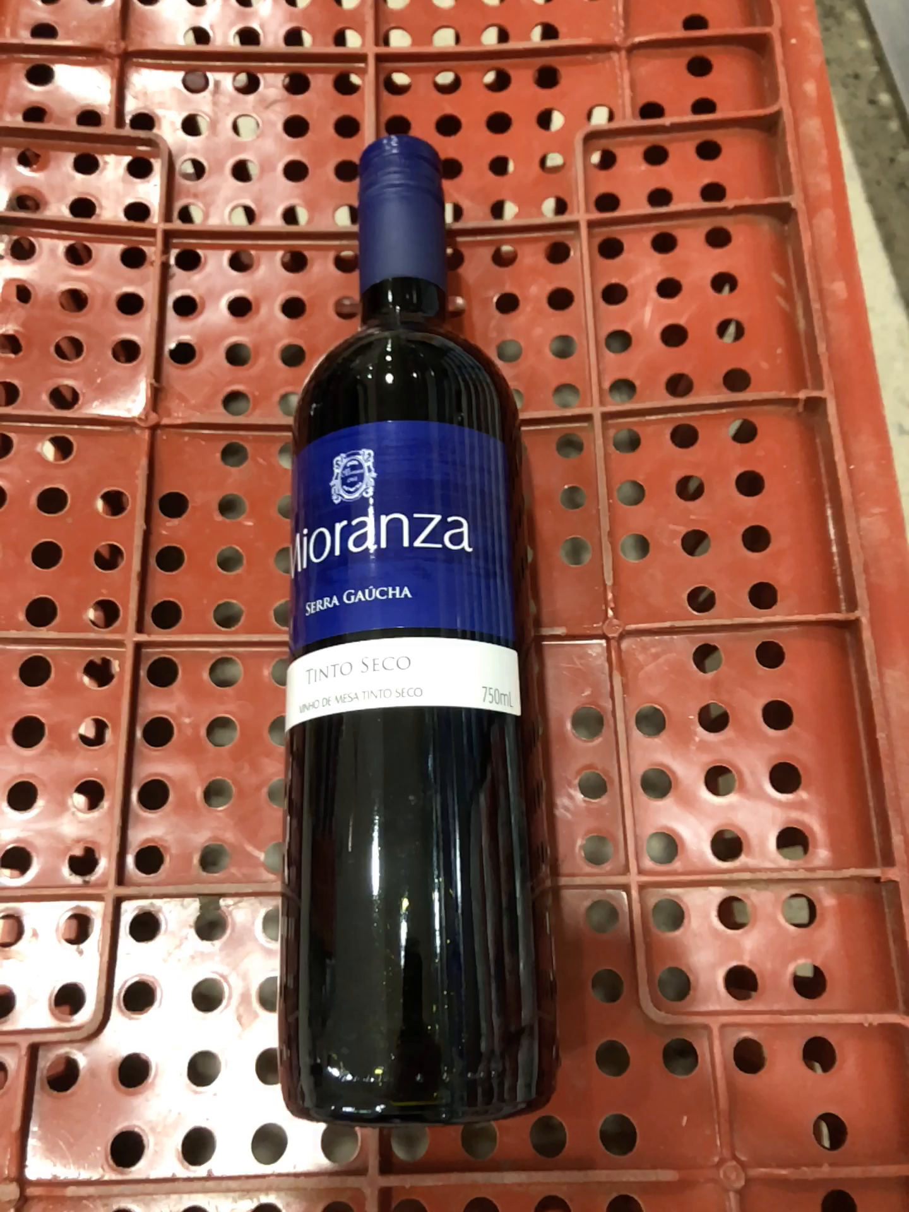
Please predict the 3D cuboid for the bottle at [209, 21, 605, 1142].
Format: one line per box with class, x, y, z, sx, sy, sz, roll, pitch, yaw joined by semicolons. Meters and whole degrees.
bottle;-0.016;-0.018;0.296;0.080;0.060;0.301;-9;71;19
